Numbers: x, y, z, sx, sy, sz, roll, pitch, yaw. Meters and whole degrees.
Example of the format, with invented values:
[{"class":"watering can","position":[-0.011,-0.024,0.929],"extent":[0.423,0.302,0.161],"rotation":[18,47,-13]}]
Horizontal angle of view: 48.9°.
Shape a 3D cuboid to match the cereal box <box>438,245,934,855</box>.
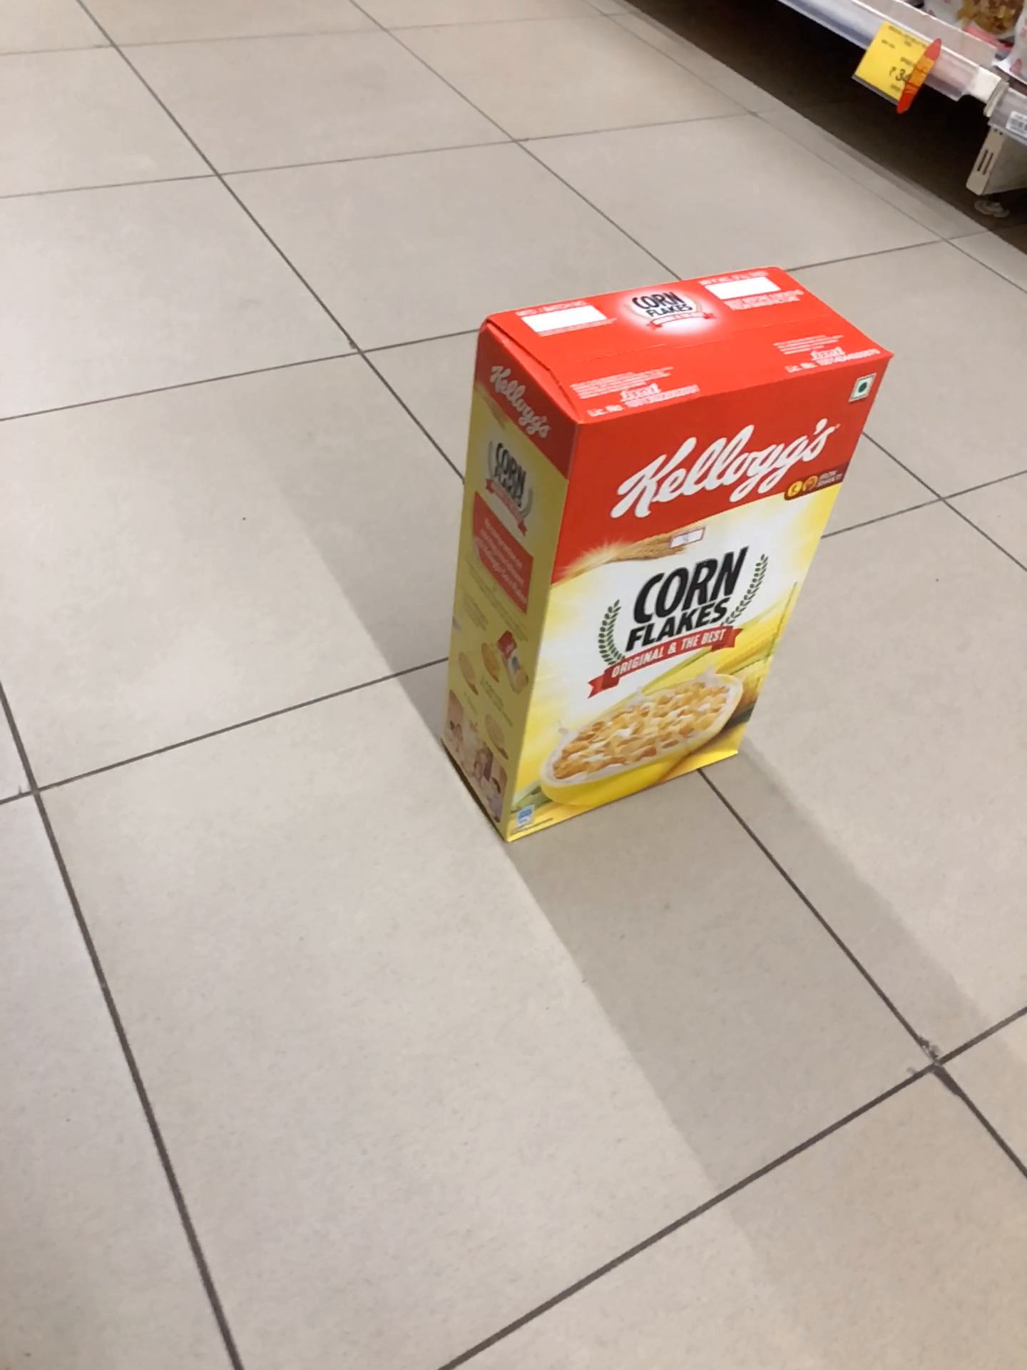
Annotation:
[{"class":"cereal box","position":[0.077,-0.066,0.654],"extent":[0.201,0.318,0.100],"rotation":[-18,52,-24]}]
